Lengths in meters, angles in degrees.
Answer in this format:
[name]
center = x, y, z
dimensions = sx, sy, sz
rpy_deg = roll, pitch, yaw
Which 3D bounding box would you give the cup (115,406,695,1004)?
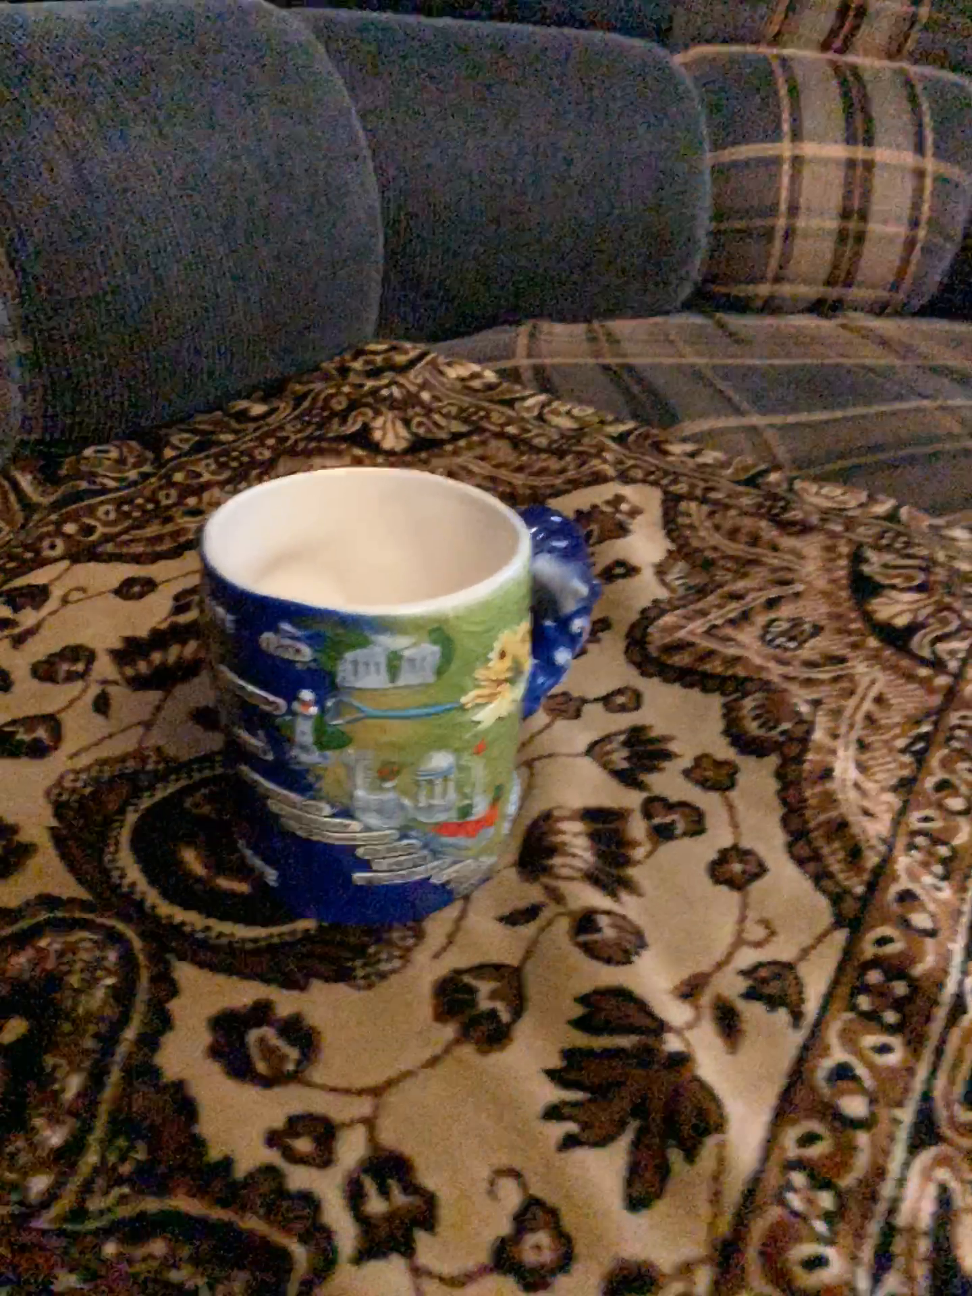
[cup]
center = -0.019, 0.006, 0.300
dimensions = 0.084, 0.105, 0.137
rpy_deg = 29, 40, 32
